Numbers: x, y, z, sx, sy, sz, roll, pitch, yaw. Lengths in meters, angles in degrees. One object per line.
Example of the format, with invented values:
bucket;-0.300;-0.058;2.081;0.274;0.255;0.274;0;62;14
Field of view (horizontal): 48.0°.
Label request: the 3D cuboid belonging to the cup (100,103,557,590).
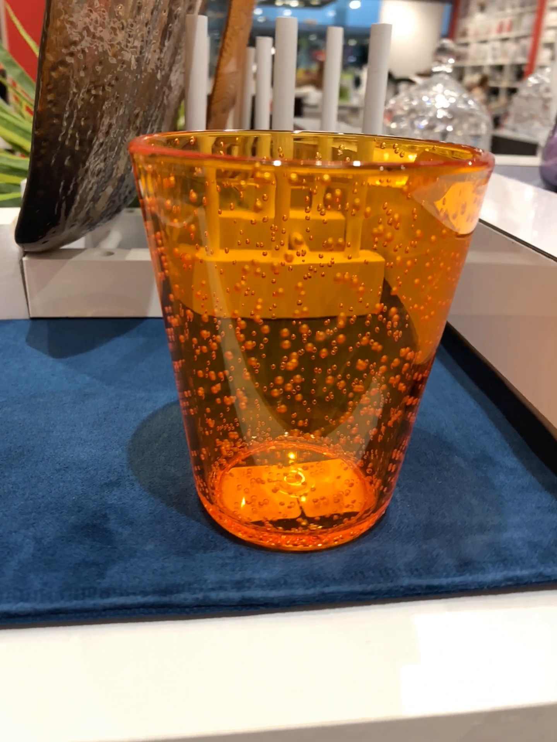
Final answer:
cup;0.004;-0.014;0.154;0.080;0.090;0.070;-6;26;-21
